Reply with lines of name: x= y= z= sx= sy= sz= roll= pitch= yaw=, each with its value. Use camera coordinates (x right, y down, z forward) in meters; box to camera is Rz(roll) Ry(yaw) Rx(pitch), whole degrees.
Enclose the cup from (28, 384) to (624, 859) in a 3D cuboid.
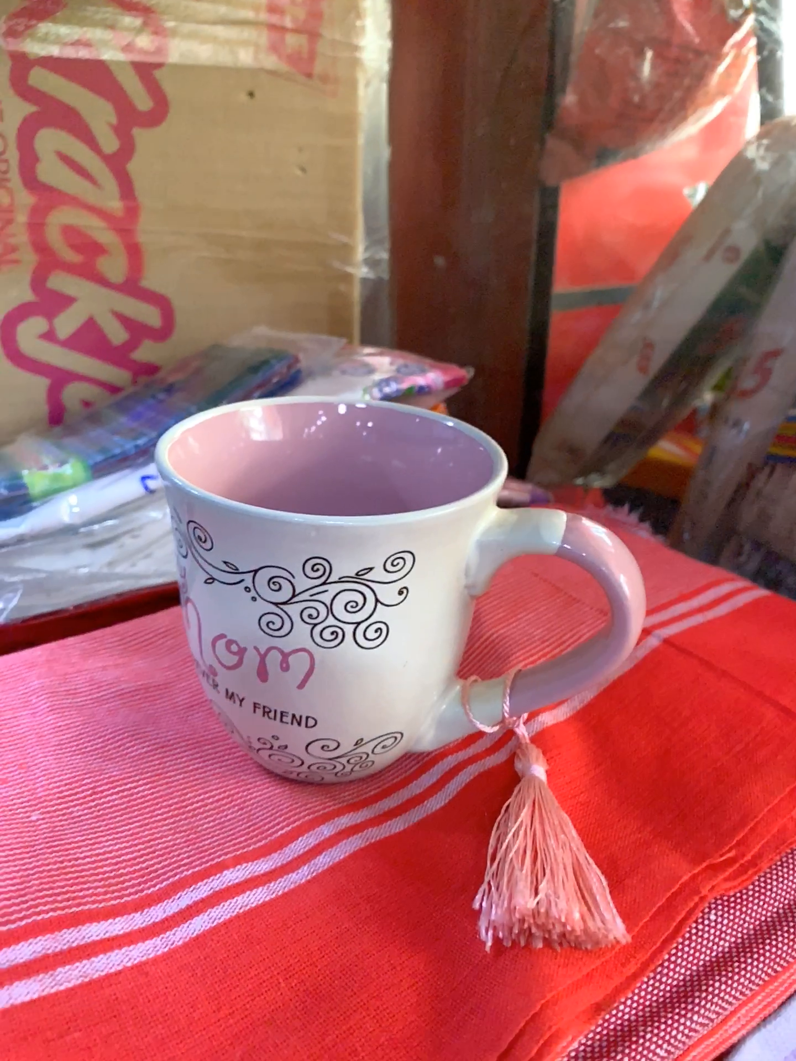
cup: x=-0.010 y=0.014 z=0.221 sx=0.125 sy=0.075 sz=0.086 roll=6 pitch=26 yaw=13
